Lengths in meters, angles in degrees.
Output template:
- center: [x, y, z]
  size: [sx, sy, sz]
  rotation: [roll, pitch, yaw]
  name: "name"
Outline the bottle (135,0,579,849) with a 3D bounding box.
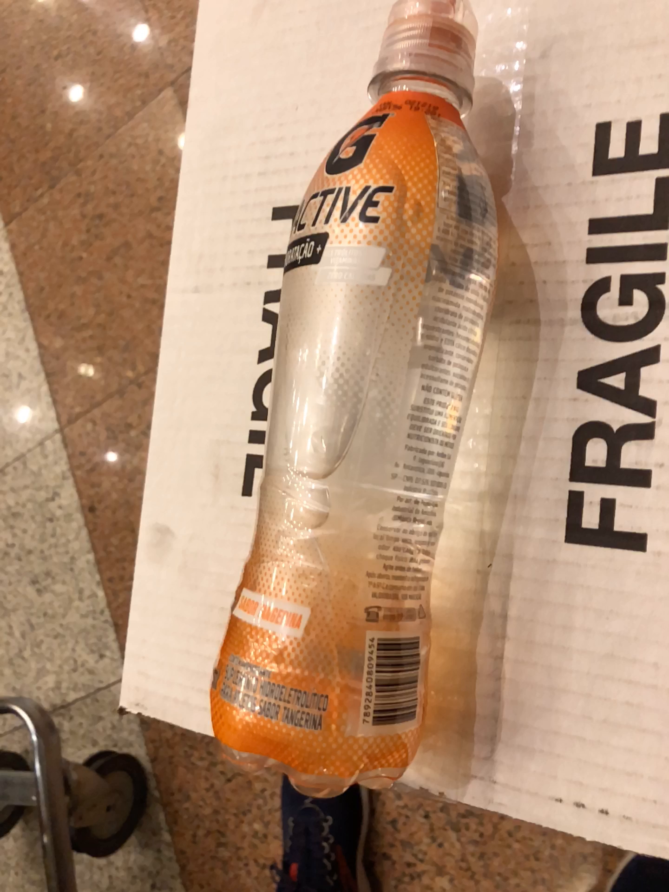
- center: [0.010, -0.032, 0.218]
  size: [0.070, 0.060, 0.250]
  rotation: [9, 88, 29]
  name: "bottle"
